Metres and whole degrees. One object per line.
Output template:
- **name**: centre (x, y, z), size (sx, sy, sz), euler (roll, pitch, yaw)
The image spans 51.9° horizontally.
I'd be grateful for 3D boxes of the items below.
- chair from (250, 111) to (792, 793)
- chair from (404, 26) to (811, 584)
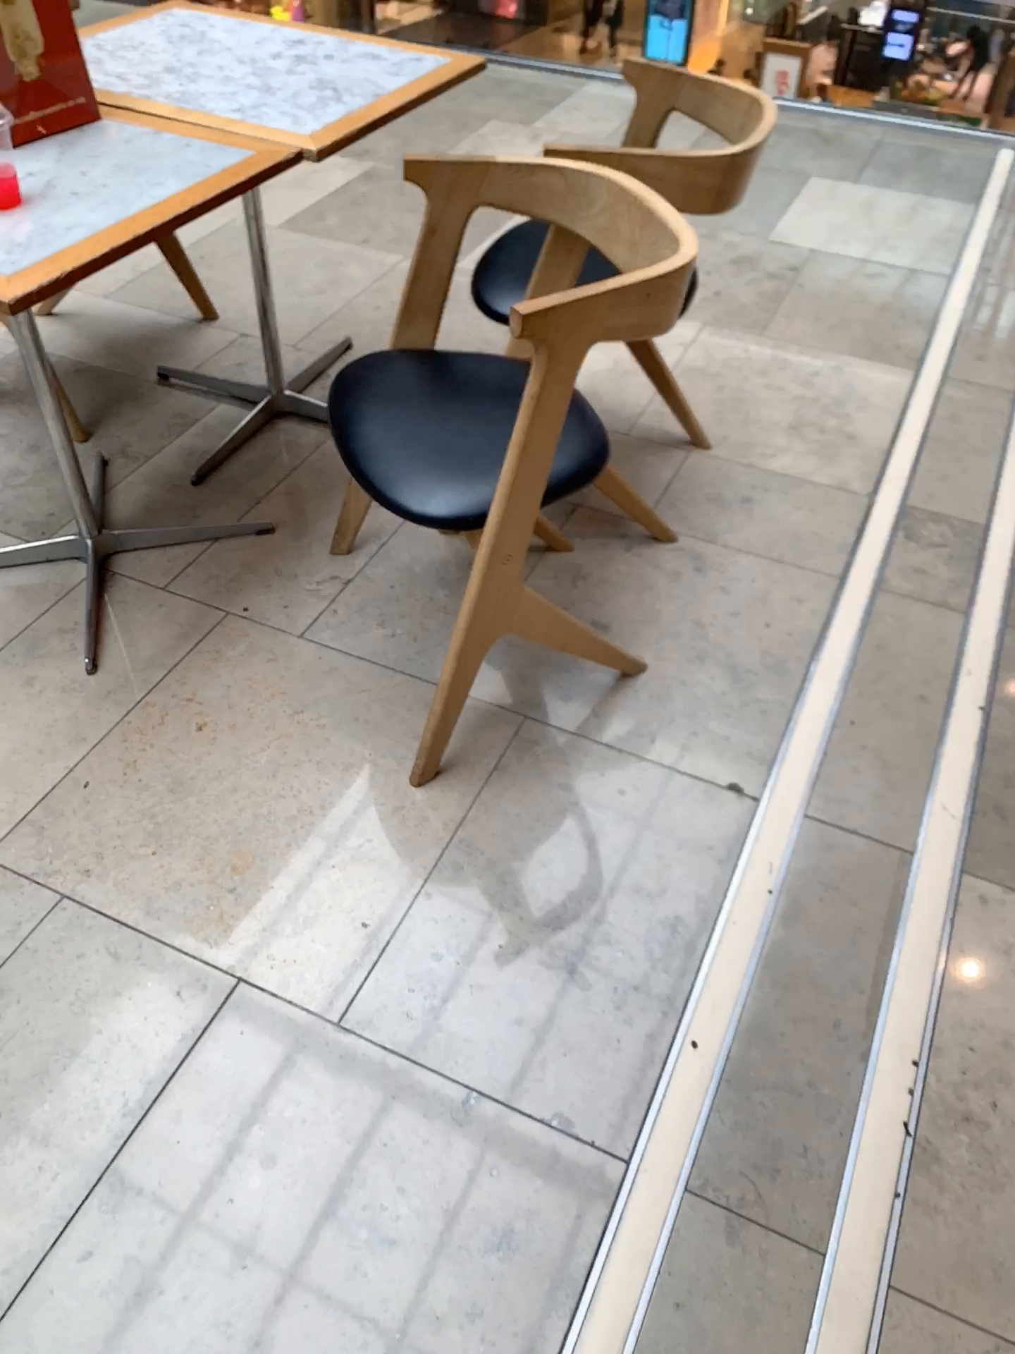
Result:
- **chair**: centre (-0.031, -0.352, 1.581), size (0.500, 0.708, 0.648), euler (-13, 47, -15)
- **chair**: centre (0.186, -0.700, 1.948), size (0.529, 0.717, 0.639), euler (13, 46, 11)
